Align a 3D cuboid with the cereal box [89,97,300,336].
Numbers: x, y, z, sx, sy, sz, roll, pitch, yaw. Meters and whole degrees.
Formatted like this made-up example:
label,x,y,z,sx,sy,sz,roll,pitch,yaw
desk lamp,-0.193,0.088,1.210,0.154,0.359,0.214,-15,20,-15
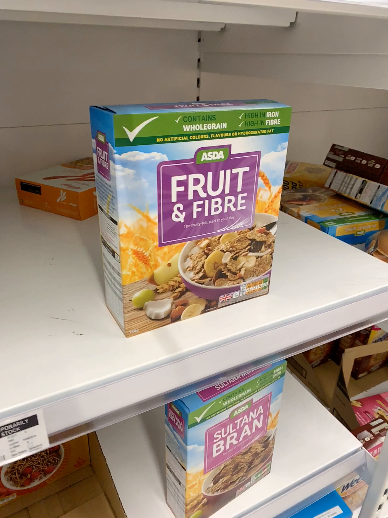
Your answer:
label,x,y,z,sx,sy,sz,roll,pitch,yaw
cereal box,0.003,-0.061,0.510,0.231,0.258,0.080,-13,30,-26
